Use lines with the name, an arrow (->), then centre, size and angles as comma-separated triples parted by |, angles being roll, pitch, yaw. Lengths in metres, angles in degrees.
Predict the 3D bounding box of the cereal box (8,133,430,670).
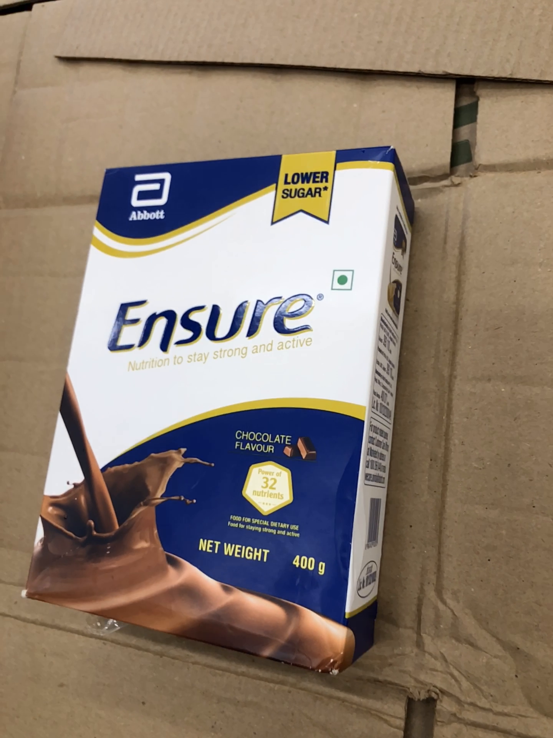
cereal box -> -0.019, 0.005, 0.254 | 0.140, 0.050, 0.180 | 3, 79, 23
